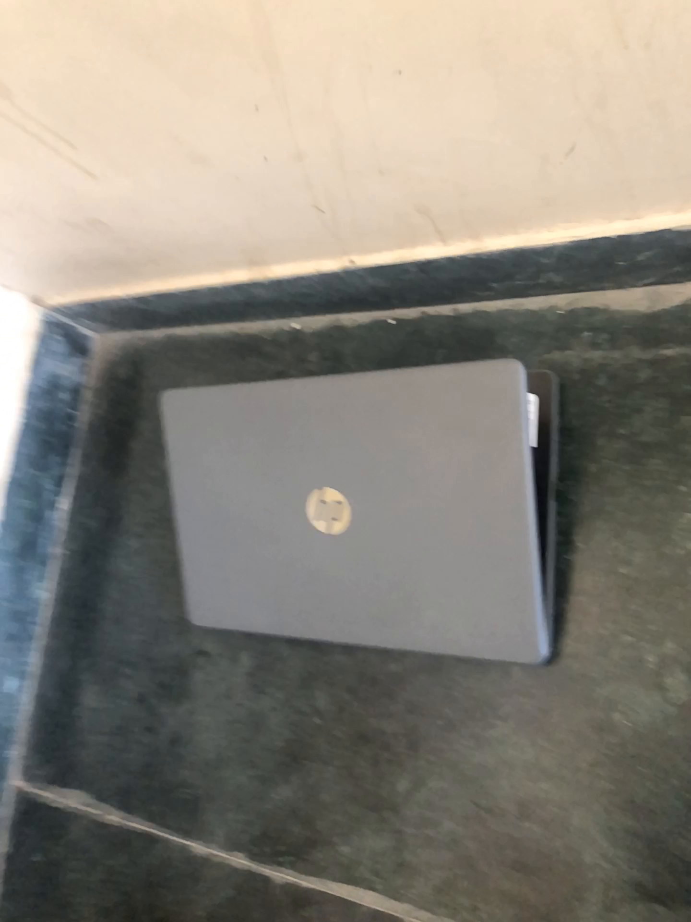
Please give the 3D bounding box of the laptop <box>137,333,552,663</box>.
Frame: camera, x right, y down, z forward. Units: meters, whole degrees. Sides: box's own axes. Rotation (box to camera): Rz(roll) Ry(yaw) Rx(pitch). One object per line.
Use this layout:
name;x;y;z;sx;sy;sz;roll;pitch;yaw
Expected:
laptop;-0.009;0.035;0.685;0.359;0.092;0.243;-1;79;30
